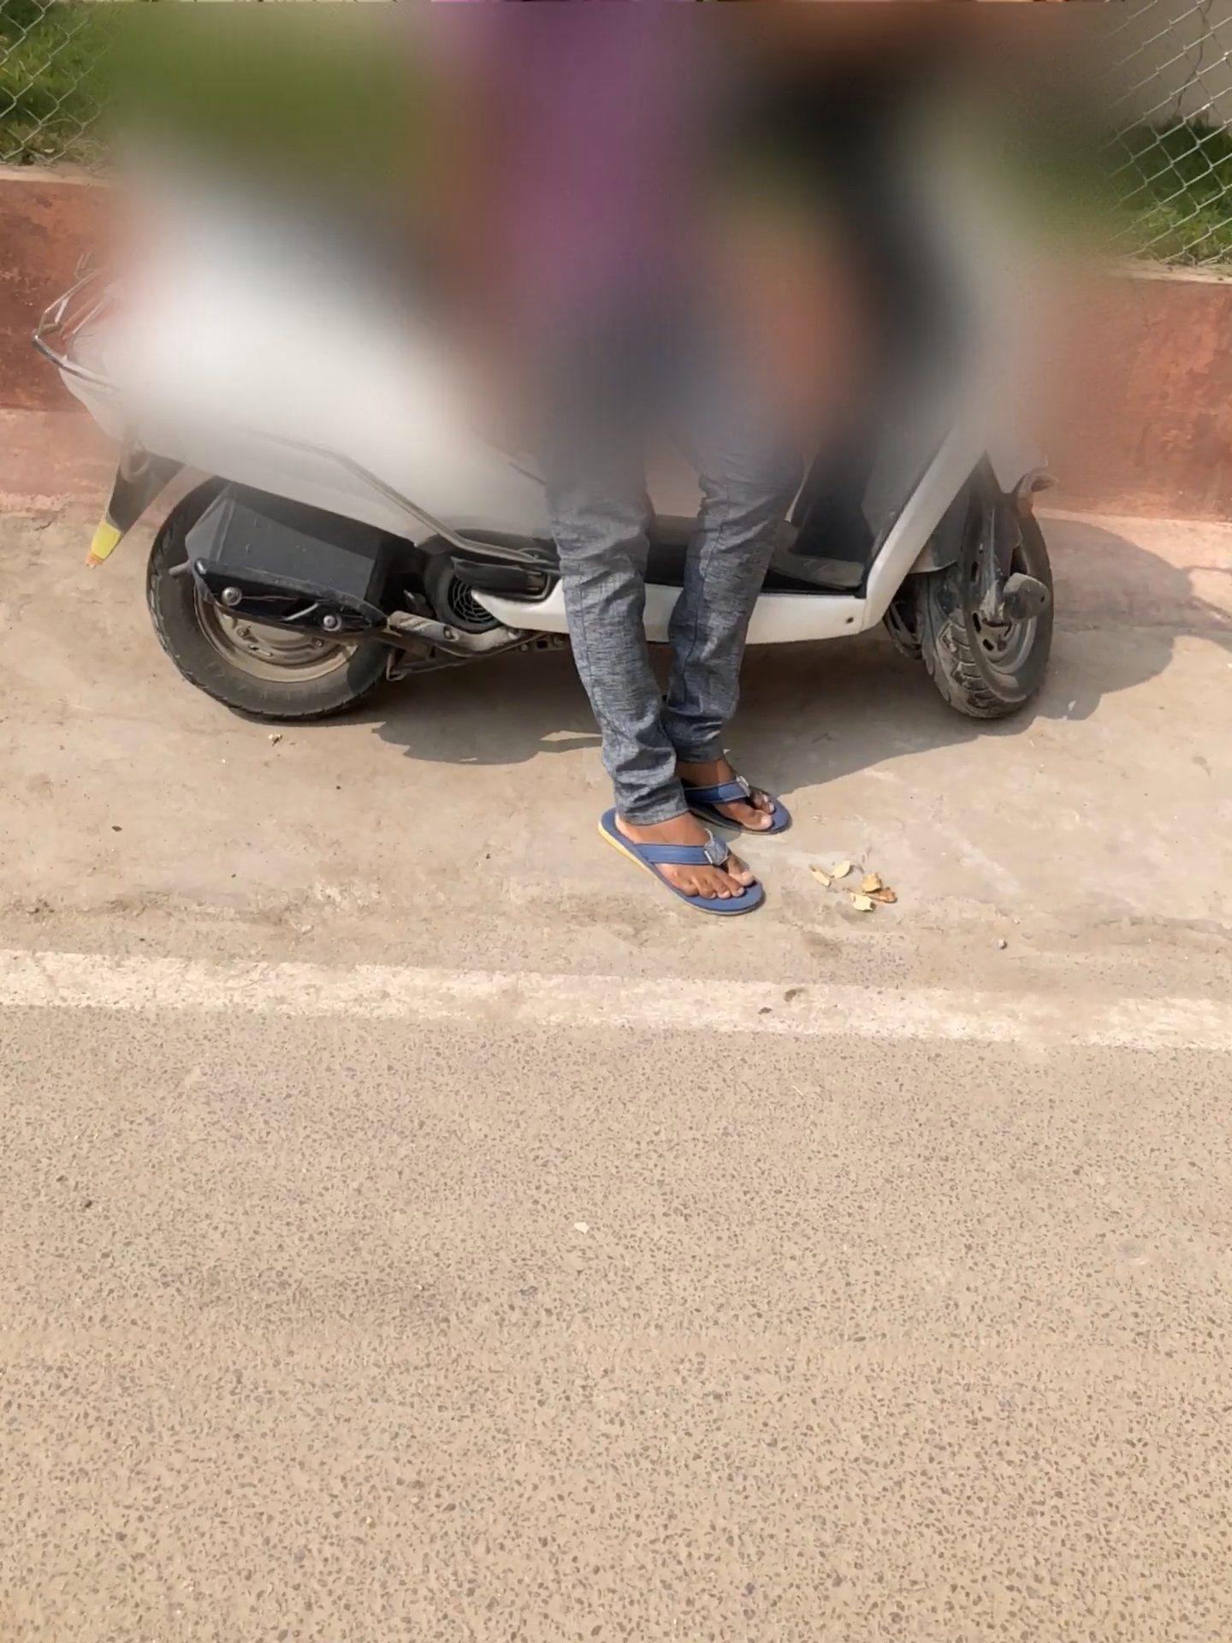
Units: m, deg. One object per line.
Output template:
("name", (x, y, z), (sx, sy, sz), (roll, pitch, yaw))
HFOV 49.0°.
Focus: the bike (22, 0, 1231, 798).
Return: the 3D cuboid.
("bike", (0.019, -0.746, 2.231), (1.553, 1.113, 0.621), (-6, 38, -13))
